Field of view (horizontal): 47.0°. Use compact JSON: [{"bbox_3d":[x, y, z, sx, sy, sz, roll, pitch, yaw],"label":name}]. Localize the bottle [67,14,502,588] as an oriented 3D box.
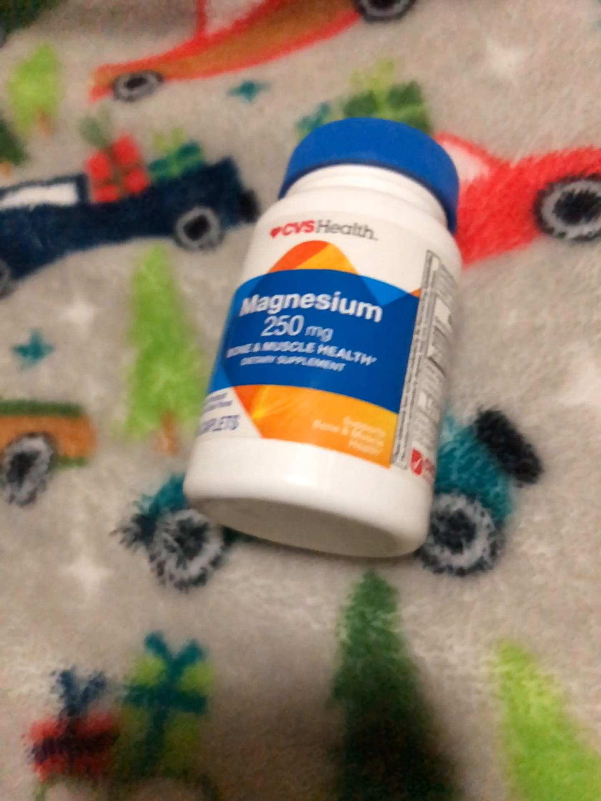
[{"bbox_3d":[0.005,-0.019,0.148,0.060,0.050,0.100,2,67,25],"label":"bottle"}]
